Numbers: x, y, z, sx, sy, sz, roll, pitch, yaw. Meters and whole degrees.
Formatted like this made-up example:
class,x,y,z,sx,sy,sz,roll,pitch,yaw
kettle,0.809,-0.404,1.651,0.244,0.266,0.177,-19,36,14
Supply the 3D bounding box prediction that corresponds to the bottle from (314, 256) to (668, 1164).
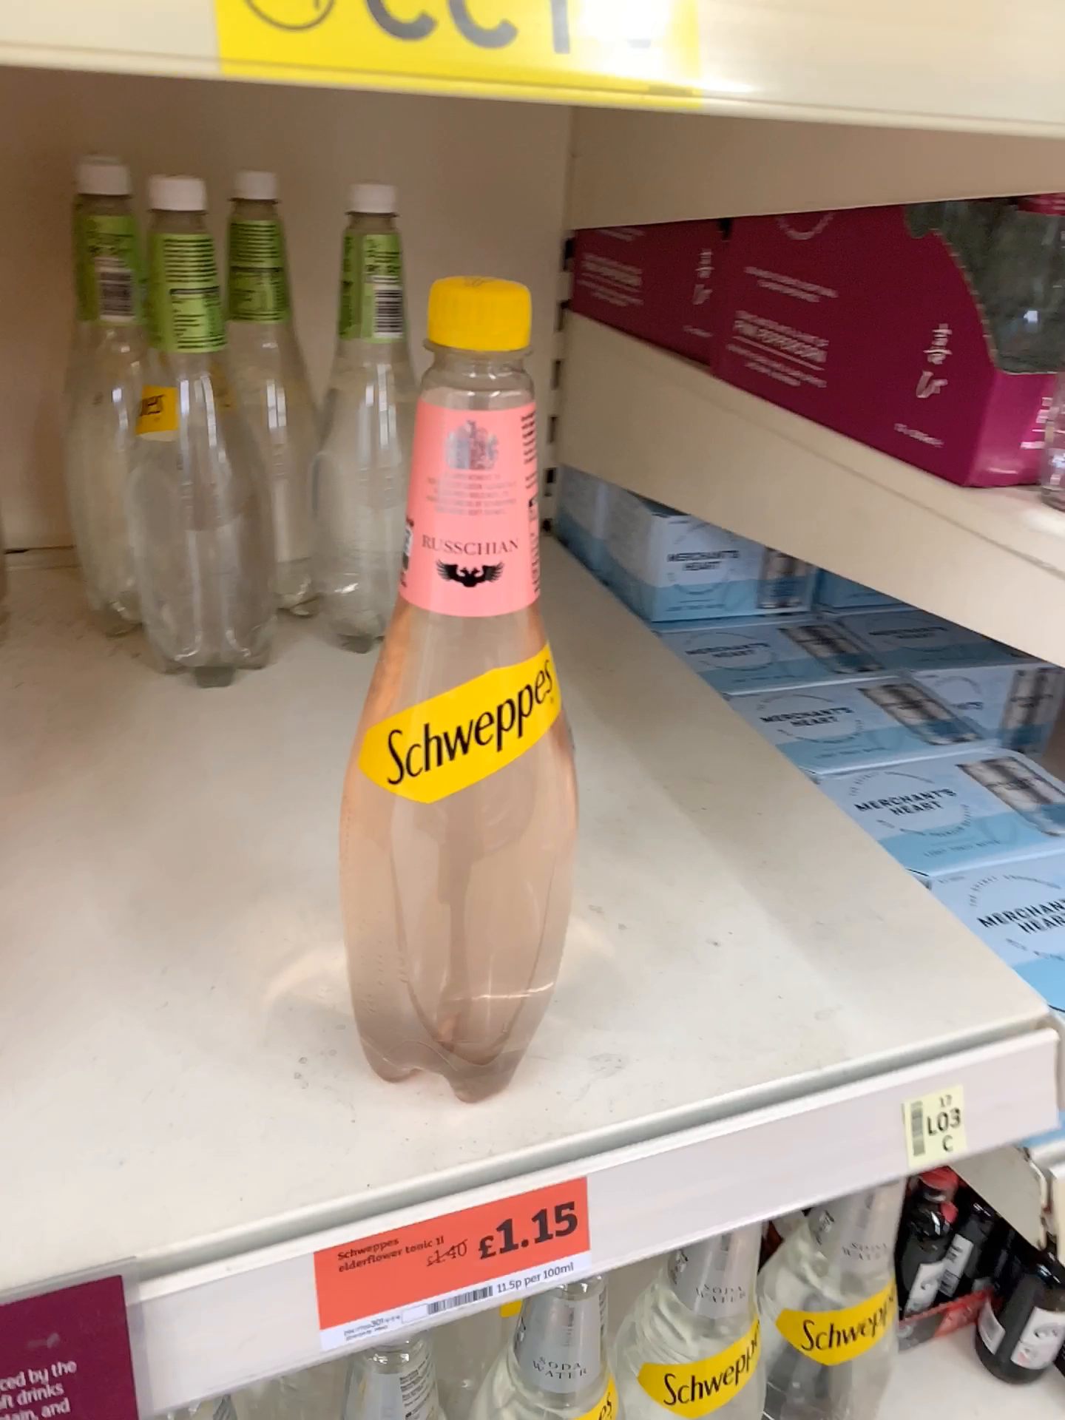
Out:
class,x,y,z,sx,sy,sz,roll,pitch,yaw
bottle,-0.027,0.011,0.378,0.085,0.299,0.090,4,28,-2
